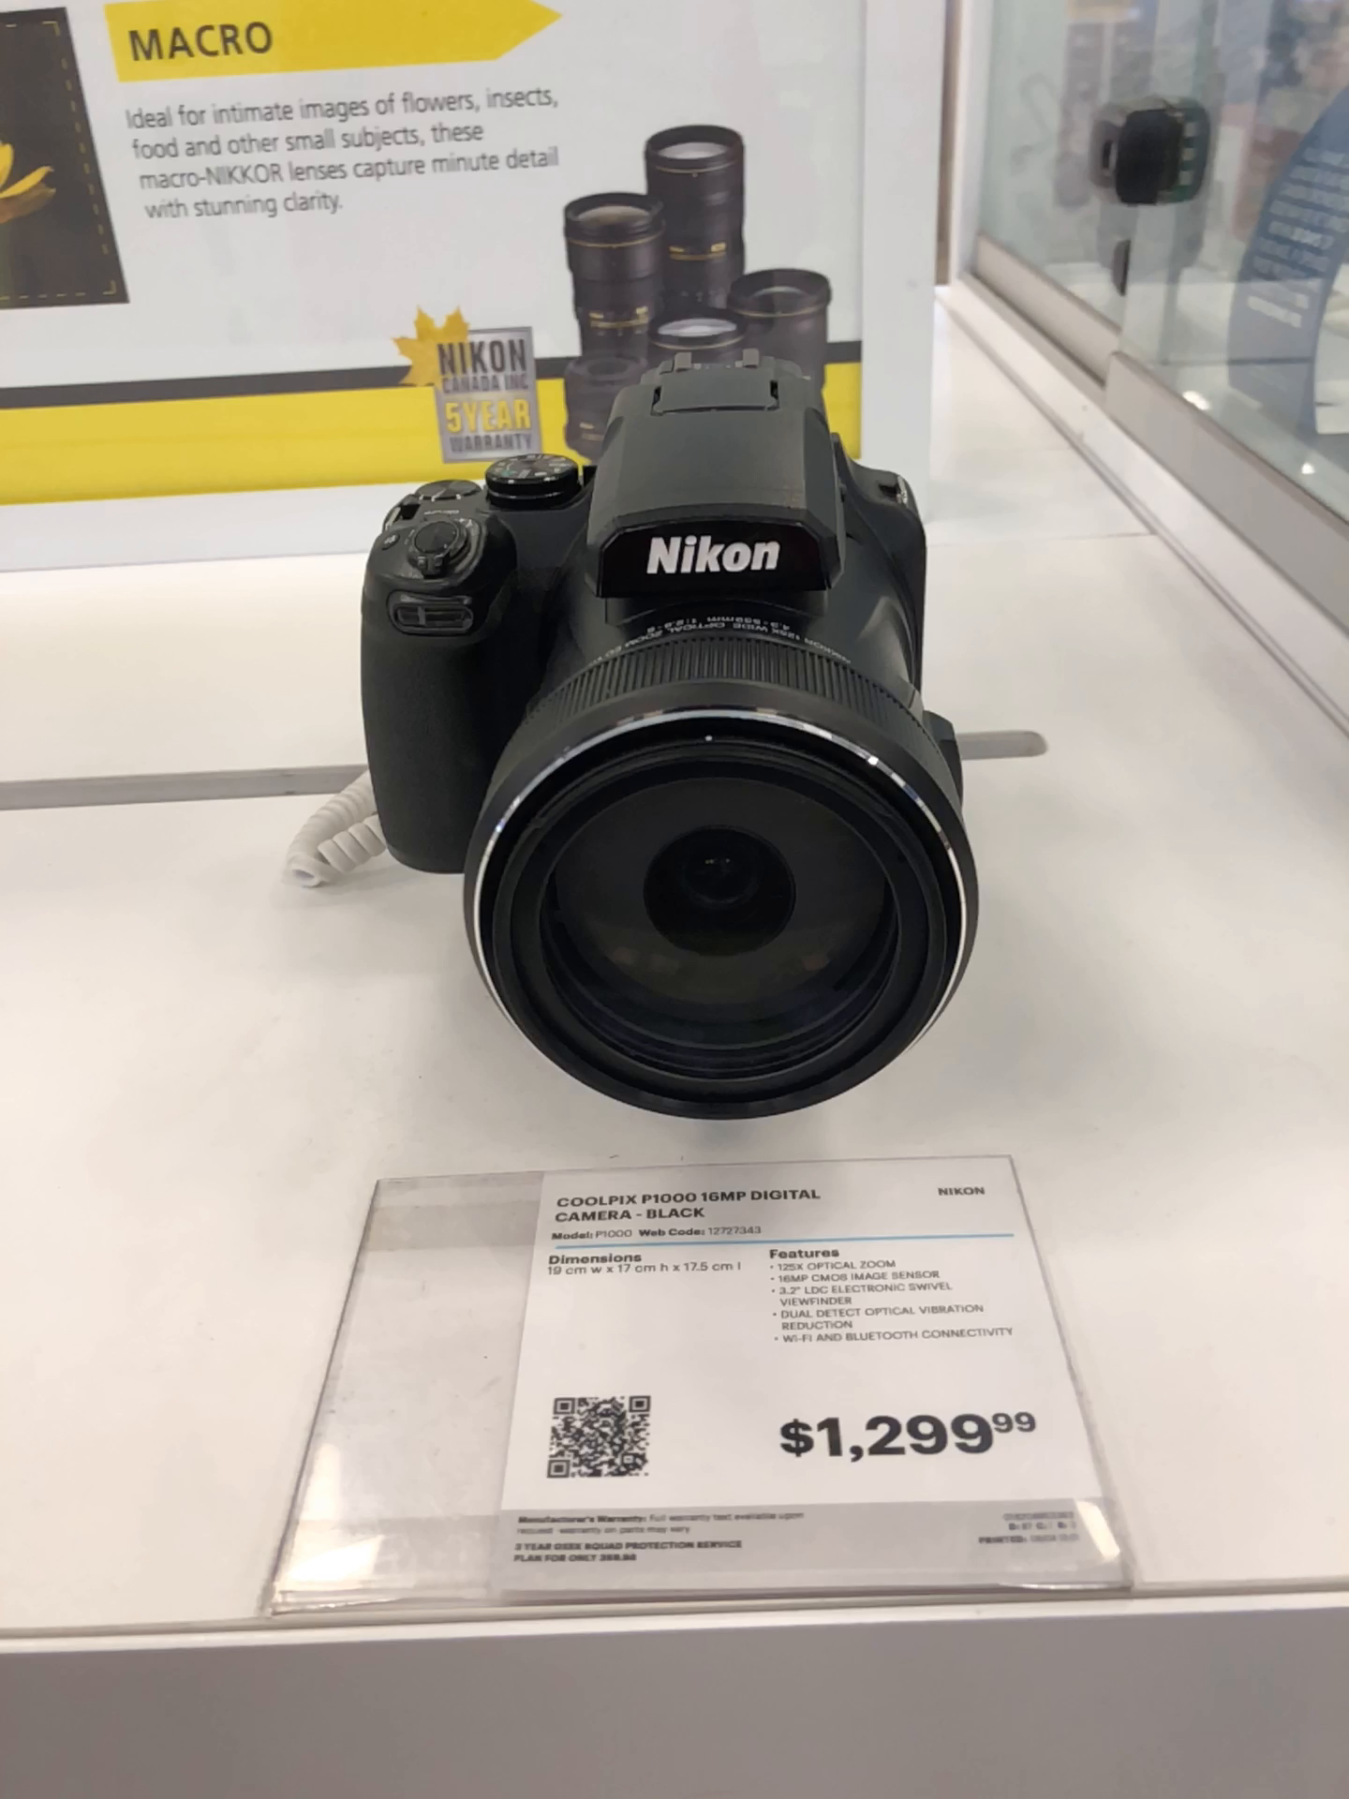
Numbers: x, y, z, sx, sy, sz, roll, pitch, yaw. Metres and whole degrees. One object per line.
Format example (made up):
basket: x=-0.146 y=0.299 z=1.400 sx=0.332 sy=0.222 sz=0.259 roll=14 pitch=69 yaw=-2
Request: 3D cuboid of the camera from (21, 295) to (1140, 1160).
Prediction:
camera: x=-0.011 y=-0.052 z=0.324 sx=0.160 sy=0.110 sz=0.191 roll=-2 pitch=31 yaw=2
